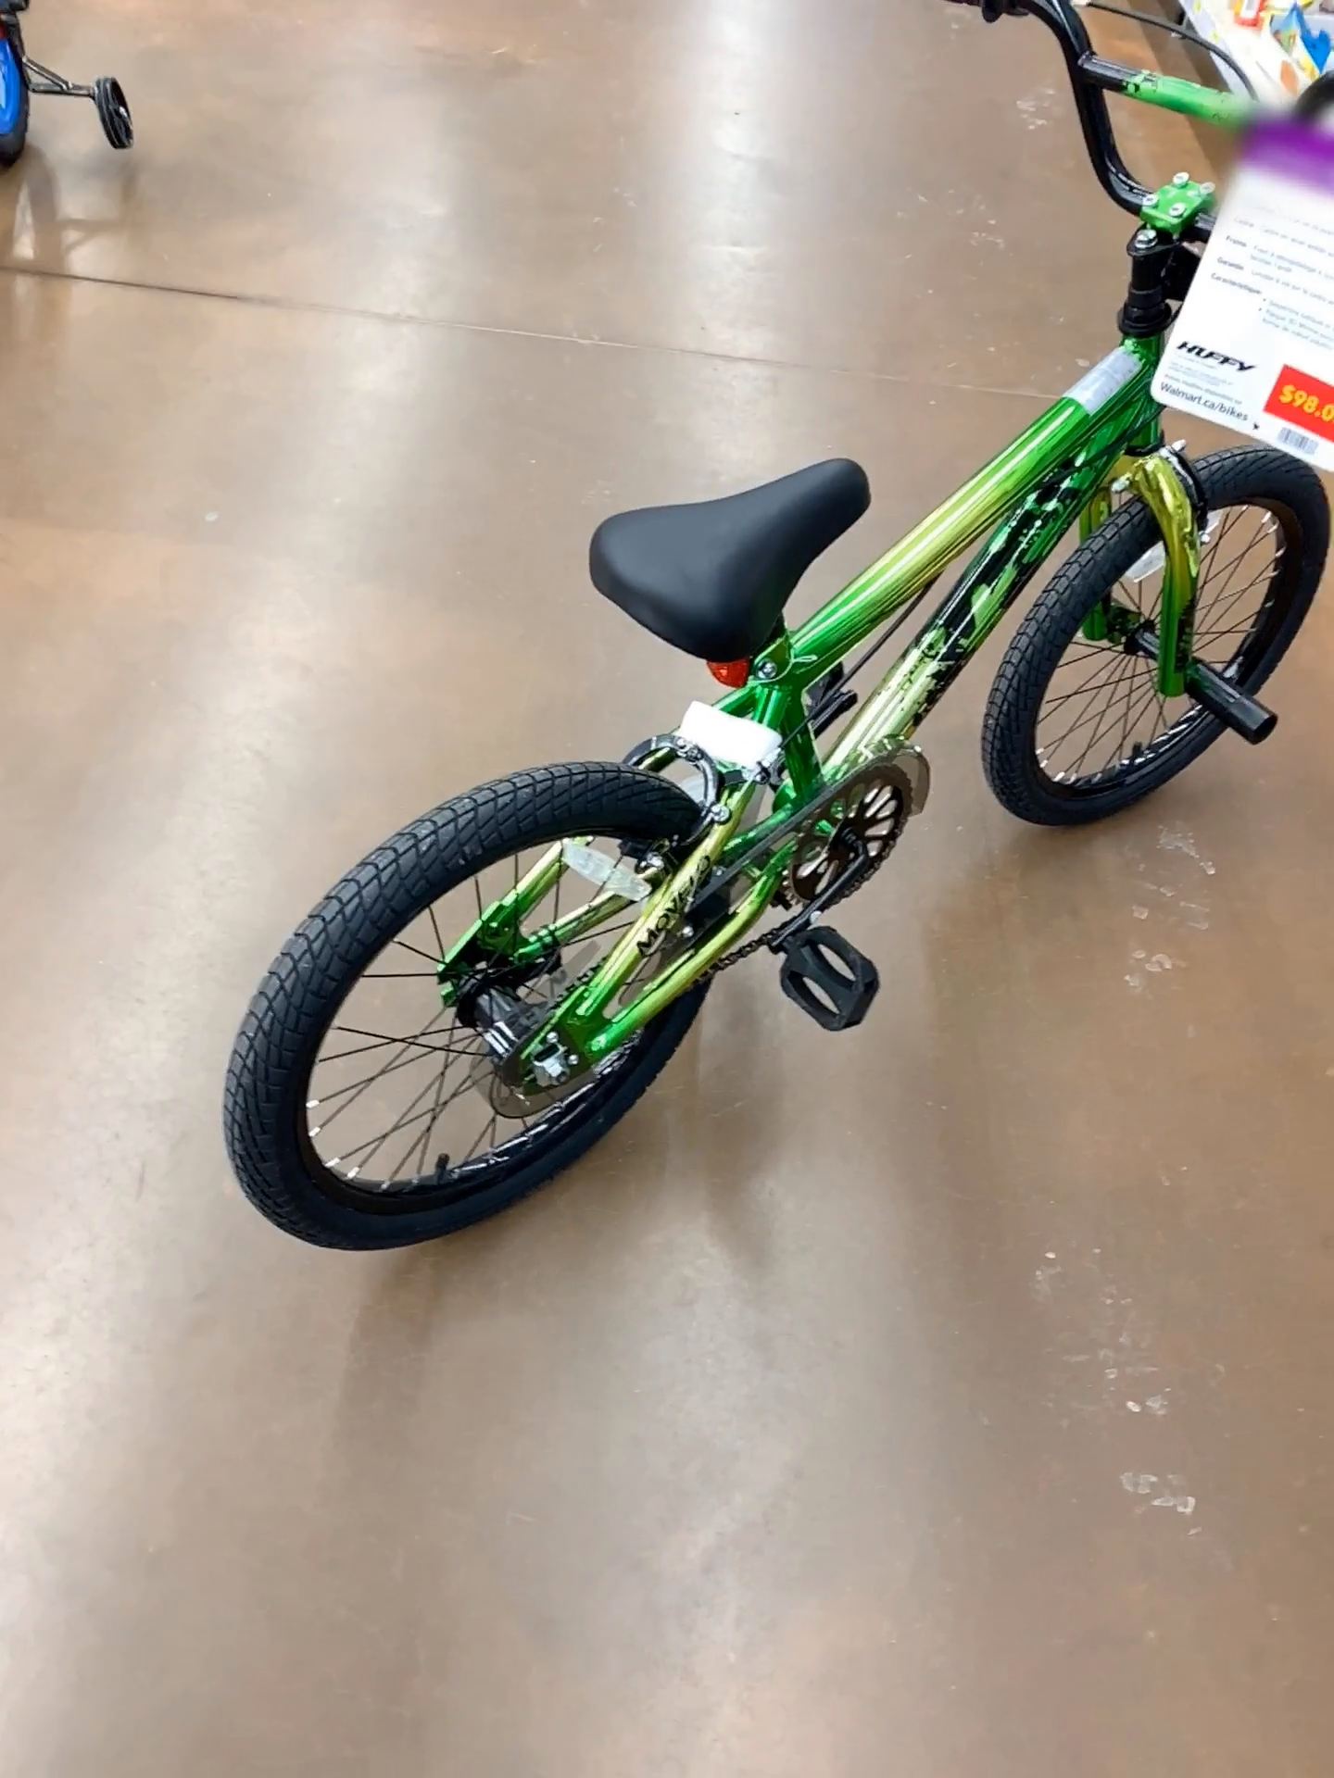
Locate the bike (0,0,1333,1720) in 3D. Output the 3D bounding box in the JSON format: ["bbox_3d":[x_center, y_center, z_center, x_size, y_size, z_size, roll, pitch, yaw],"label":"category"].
[{"bbox_3d":[0.341,-0.206,1.127,1.408,1.034,0.719,-30,57,-23],"label":"bike"}]
